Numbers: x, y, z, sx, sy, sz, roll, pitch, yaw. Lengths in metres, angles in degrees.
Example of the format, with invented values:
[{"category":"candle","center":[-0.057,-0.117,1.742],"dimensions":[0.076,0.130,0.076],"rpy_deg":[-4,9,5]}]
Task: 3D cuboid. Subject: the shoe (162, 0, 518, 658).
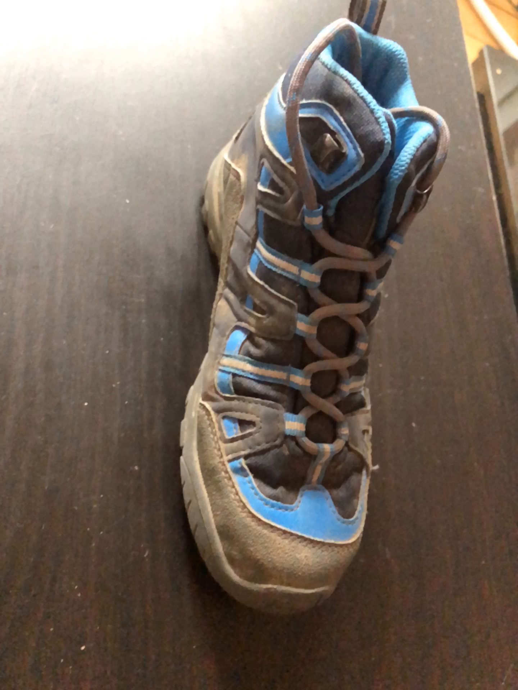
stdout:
[{"category":"shoe","center":[0.031,-0.015,0.255],"dimensions":[0.100,0.119,0.251],"rpy_deg":[10,67,-24]}]
